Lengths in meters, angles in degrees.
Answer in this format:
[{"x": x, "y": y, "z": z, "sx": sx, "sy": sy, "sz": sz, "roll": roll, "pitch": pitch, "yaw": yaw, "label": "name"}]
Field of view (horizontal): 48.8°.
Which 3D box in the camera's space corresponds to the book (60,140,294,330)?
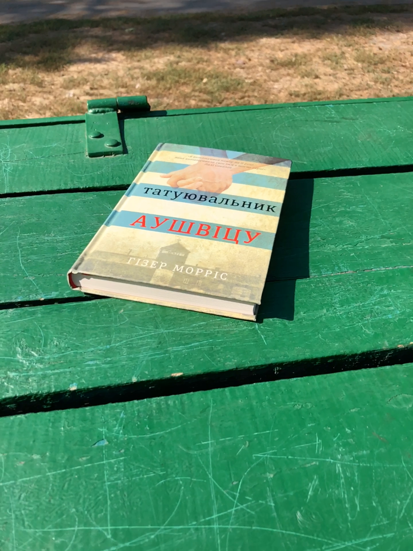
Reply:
[{"x": -0.009, "y": -0.053, "z": 0.398, "sx": 0.147, "sy": 0.020, "sz": 0.214, "roll": 11, "pitch": 43, "yaw": 9, "label": "book"}]
